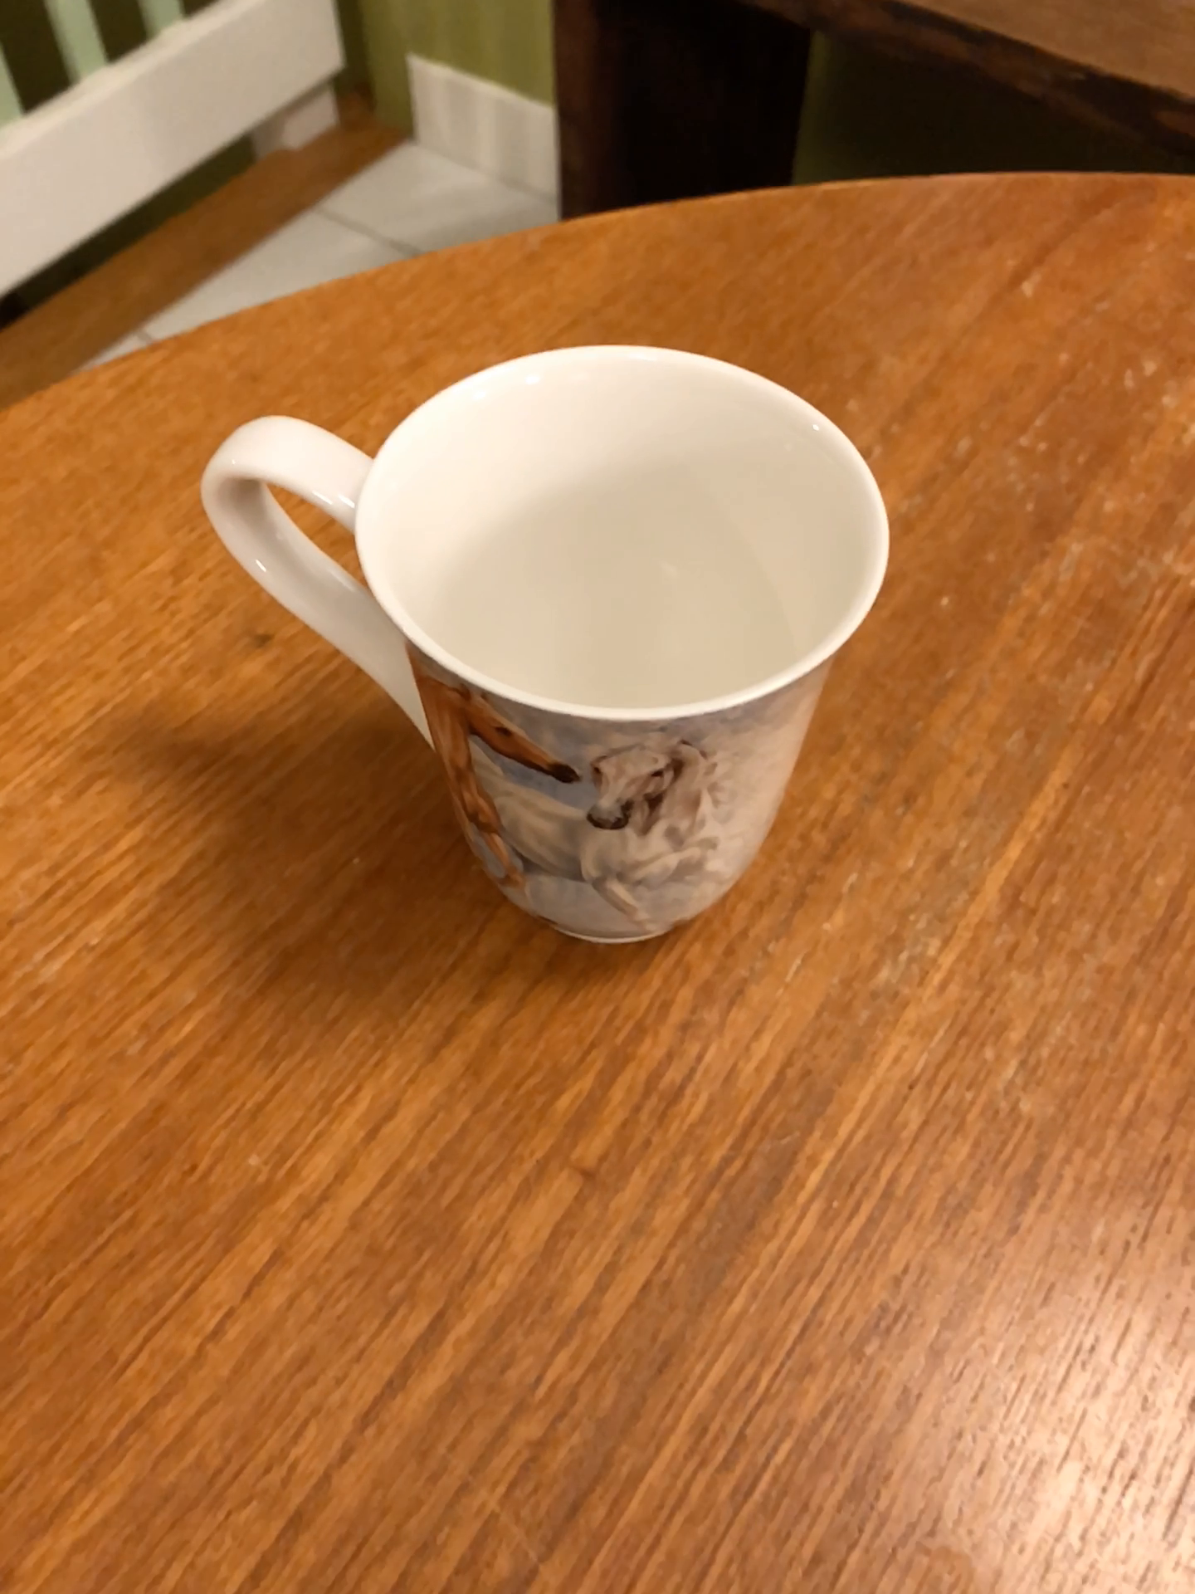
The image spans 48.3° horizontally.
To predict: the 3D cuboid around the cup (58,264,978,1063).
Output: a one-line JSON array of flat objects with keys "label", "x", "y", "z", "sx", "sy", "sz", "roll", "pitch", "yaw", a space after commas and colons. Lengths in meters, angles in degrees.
[{"label": "cup", "x": -0.010, "y": -0.024, "z": 0.263, "sx": 0.133, "sy": 0.098, "sz": 0.083, "roll": 17, "pitch": 58, "yaw": 11}]
